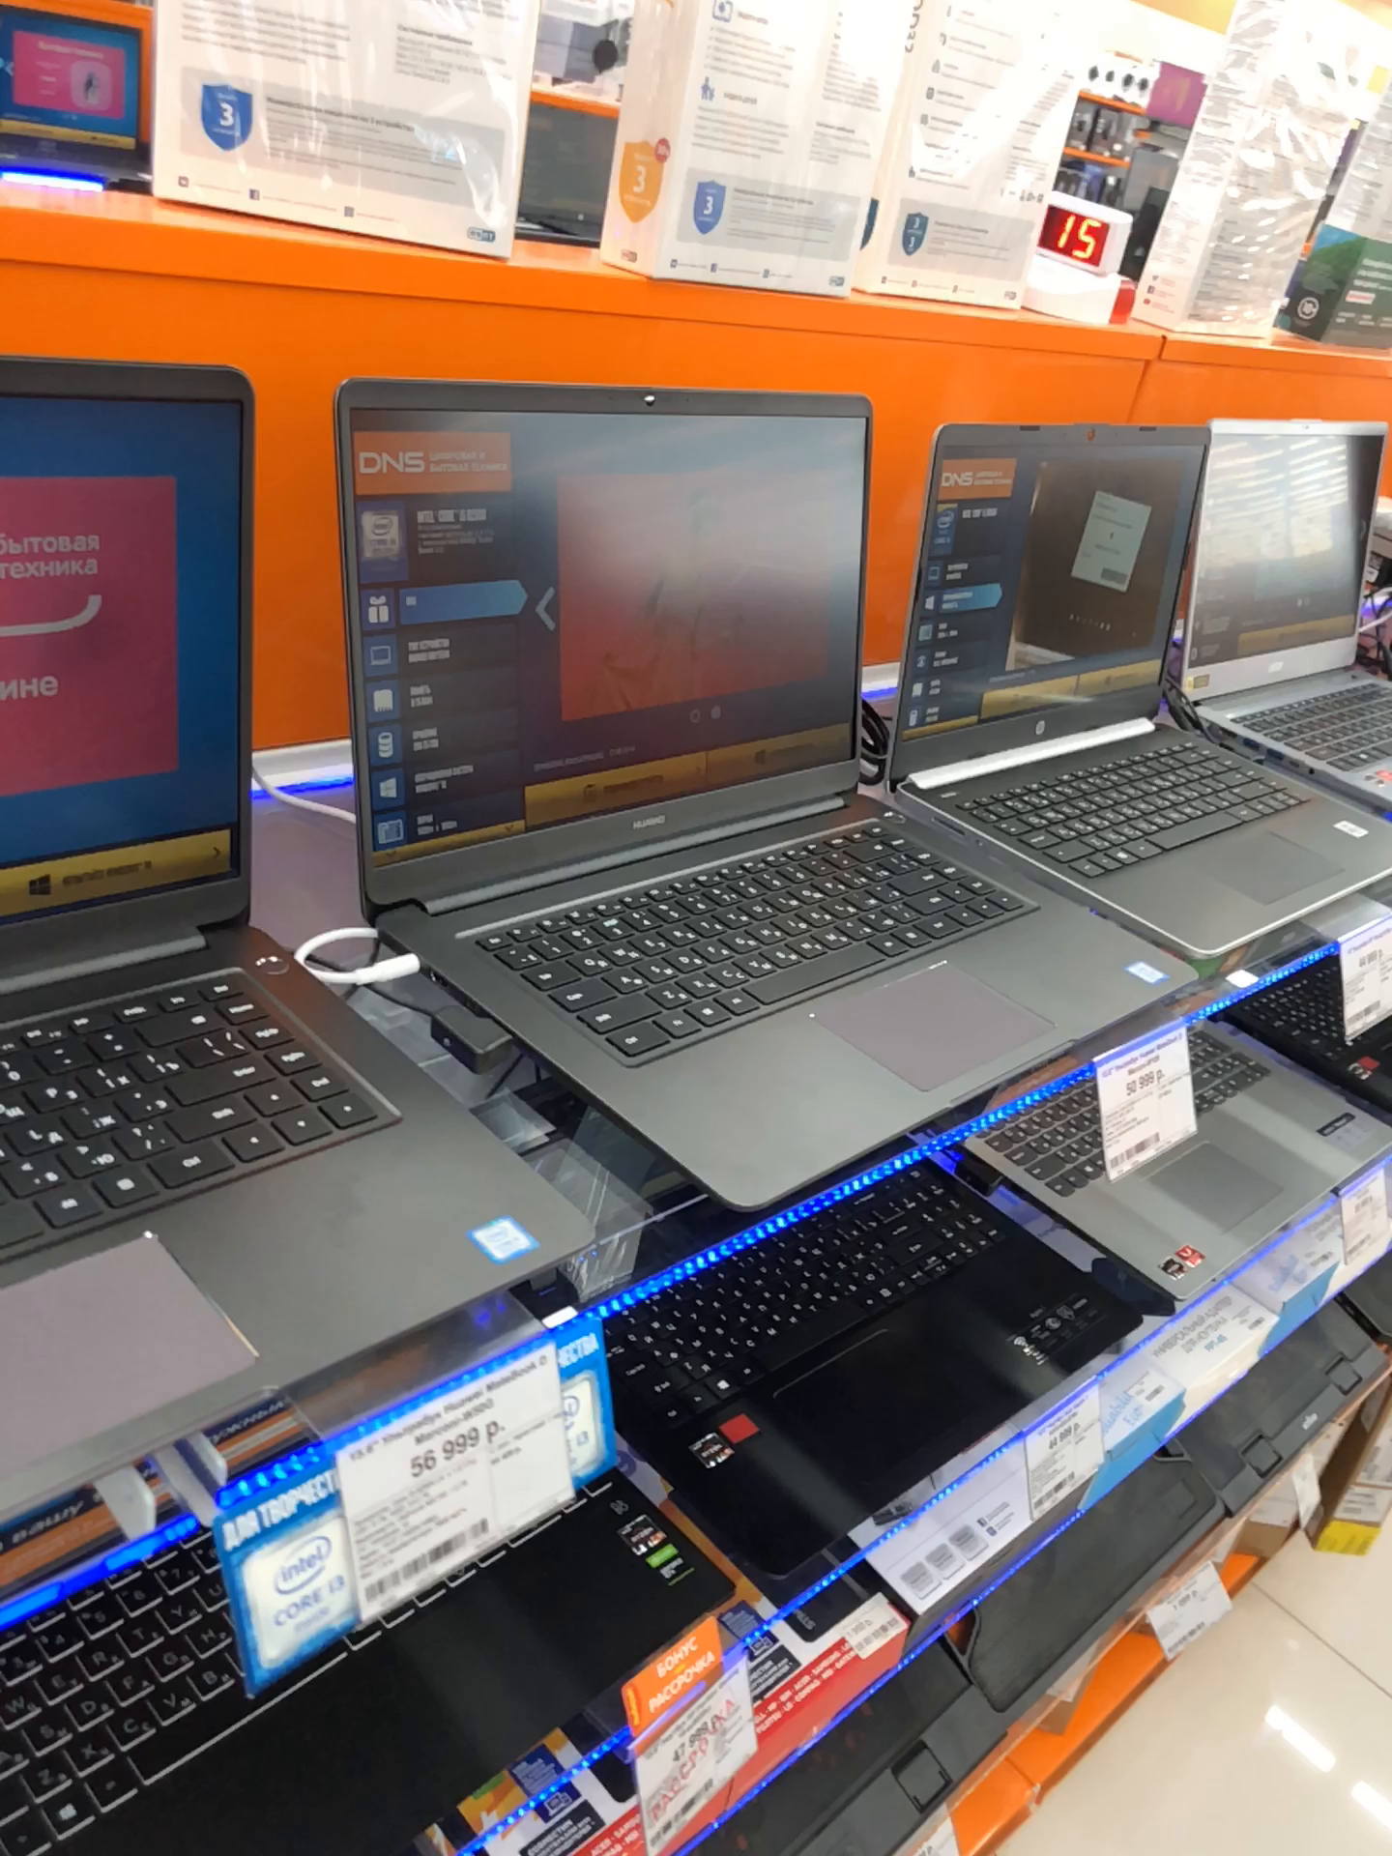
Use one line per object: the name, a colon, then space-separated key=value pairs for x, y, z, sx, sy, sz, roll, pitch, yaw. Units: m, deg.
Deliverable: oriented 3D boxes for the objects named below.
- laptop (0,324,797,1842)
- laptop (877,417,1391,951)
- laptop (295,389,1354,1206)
laptop: x=-0.220 y=-0.008 z=0.414 sx=0.242 sy=0.230 sz=0.356 roll=32 pitch=33 yaw=34
laptop: x=0.311 y=-0.168 z=0.929 sx=0.270 sy=0.195 sz=0.243 roll=-17 pitch=40 yaw=-38
laptop: x=0.055 y=-0.093 z=0.695 sx=0.288 sy=0.212 sz=0.339 roll=33 pitch=34 yaw=33
